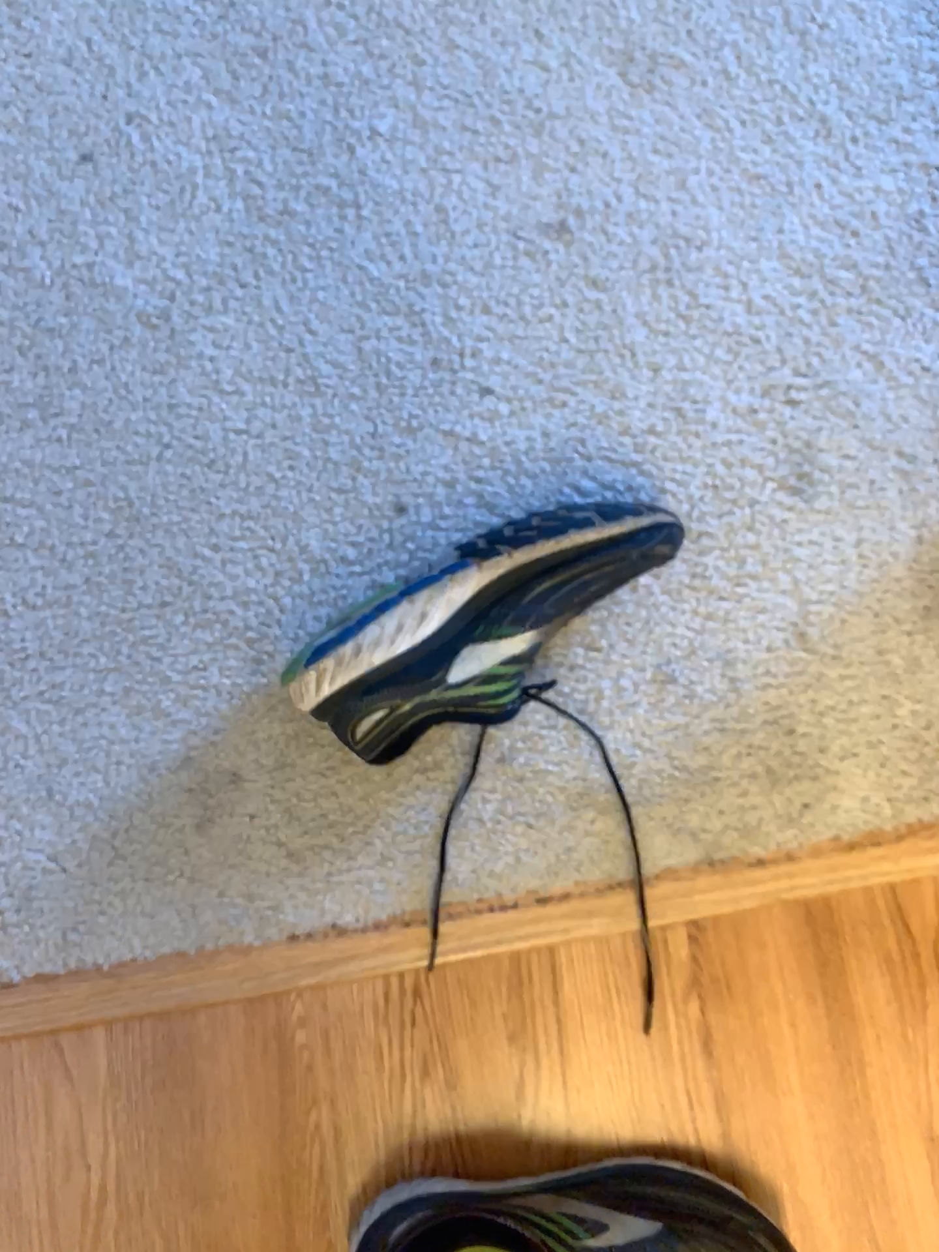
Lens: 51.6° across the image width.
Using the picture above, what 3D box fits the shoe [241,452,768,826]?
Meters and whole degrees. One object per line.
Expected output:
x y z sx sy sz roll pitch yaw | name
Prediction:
0.020 0.002 0.659 0.310 0.110 0.120 -23 98 -5 | shoe

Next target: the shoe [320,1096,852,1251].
0.071 0.410 0.643 0.310 0.123 0.120 6 81 0 | shoe
